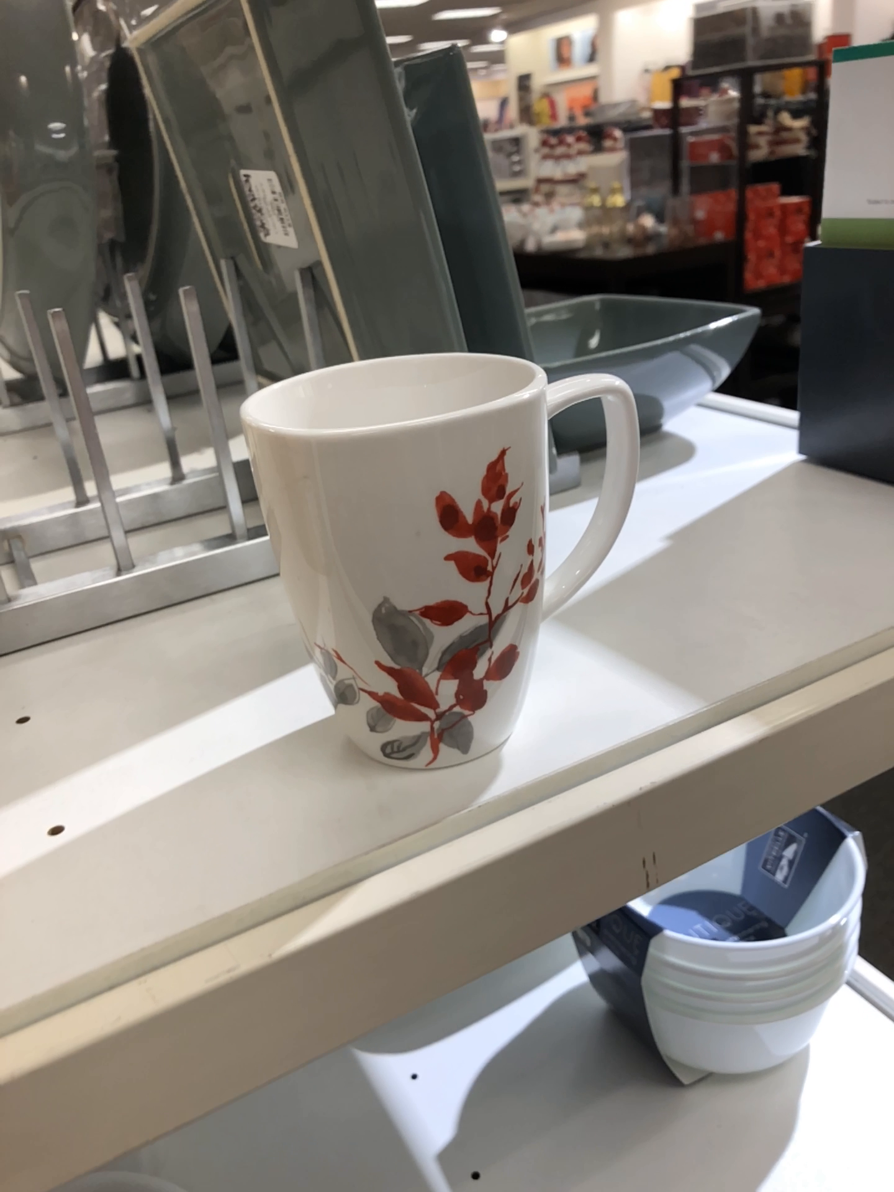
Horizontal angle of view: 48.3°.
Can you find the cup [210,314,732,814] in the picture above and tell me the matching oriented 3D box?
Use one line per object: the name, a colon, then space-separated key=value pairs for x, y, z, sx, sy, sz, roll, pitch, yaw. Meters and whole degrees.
cup: x=0.008 y=-0.019 z=0.297 sx=0.119 sy=0.100 sz=0.085 roll=-17 pitch=26 yaw=-21
